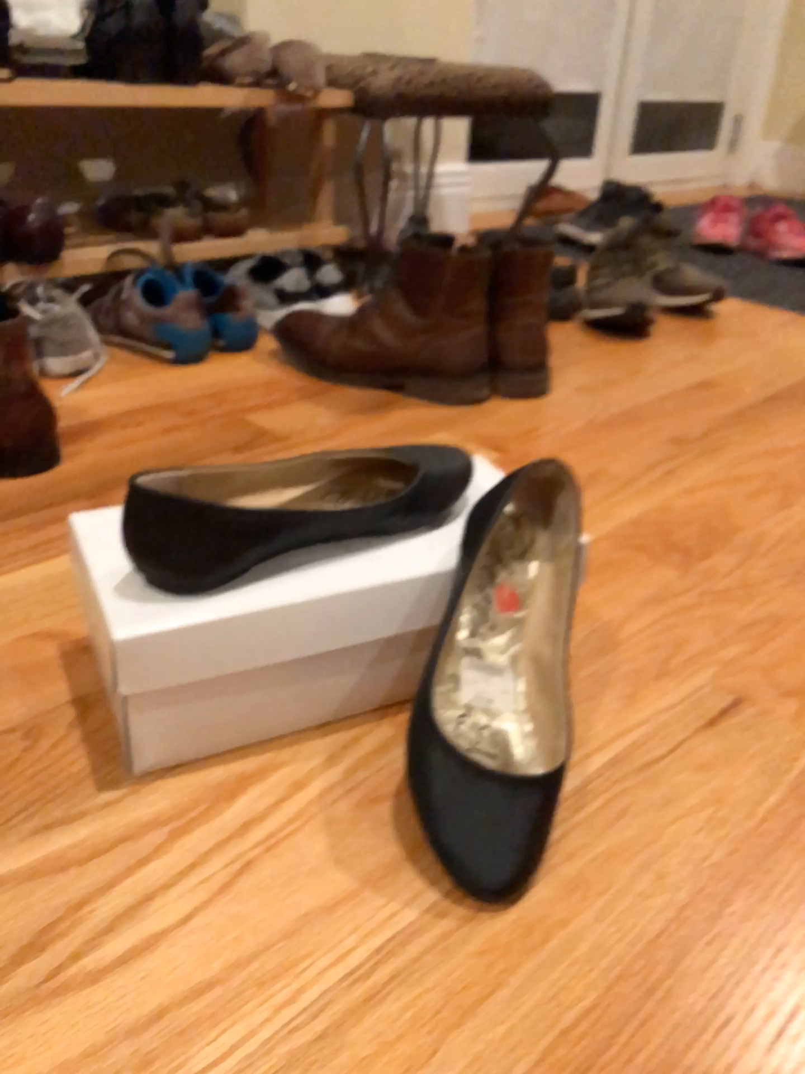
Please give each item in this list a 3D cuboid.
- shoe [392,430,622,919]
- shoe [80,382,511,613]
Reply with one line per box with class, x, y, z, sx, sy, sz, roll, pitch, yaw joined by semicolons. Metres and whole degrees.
shoe;0.060;0.068;0.479;0.076;0.060;0.241;16;64;-9
shoe;-0.053;-0.033;0.527;0.240;0.060;0.076;-17;34;-33
